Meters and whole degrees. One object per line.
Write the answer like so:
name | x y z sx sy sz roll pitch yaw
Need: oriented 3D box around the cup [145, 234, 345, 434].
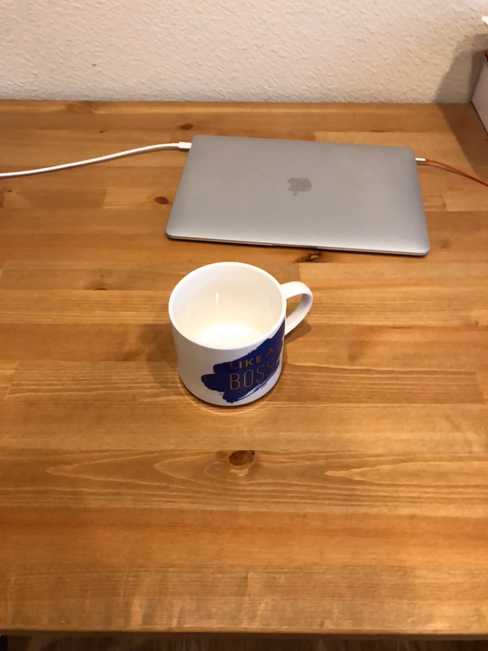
cup | 0.000 0.004 0.477 0.130 0.090 0.100 -25 53 -20
